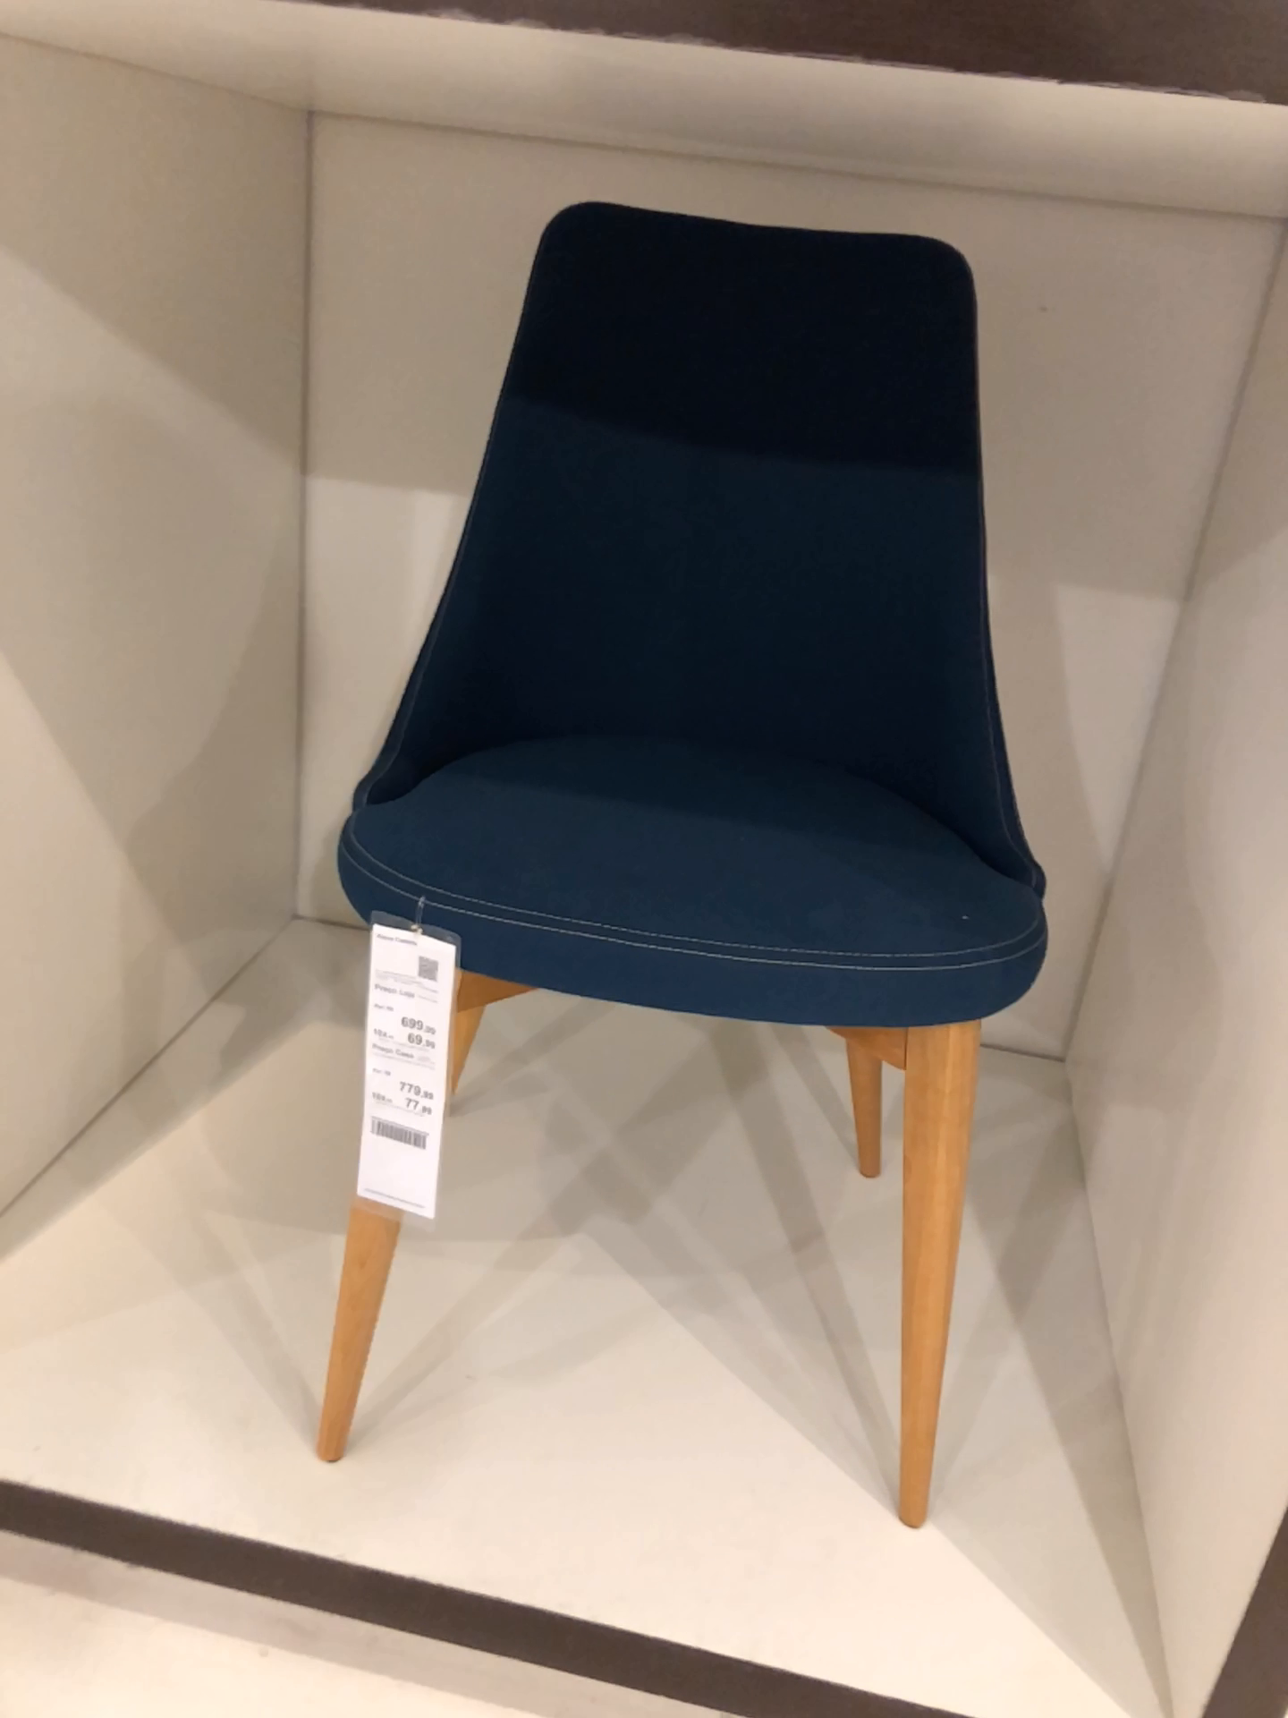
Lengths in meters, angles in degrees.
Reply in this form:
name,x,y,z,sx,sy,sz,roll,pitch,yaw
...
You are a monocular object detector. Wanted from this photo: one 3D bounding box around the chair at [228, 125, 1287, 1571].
name,x,y,z,sx,sy,sz,roll,pitch,yaw
chair,0.034,-0.029,1.082,0.520,0.864,0.524,7,23,2
